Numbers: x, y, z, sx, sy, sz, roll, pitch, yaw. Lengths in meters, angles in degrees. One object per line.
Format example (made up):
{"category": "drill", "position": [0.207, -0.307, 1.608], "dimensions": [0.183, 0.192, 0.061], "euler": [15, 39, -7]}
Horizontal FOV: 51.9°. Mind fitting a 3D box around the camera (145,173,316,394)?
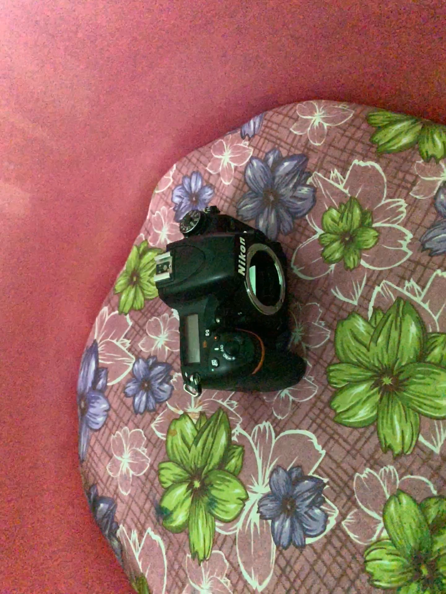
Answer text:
{"category": "camera", "position": [0.006, 0.000, 0.351], "dimensions": [0.093, 0.090, 0.140], "euler": [-10, 74, 30]}
